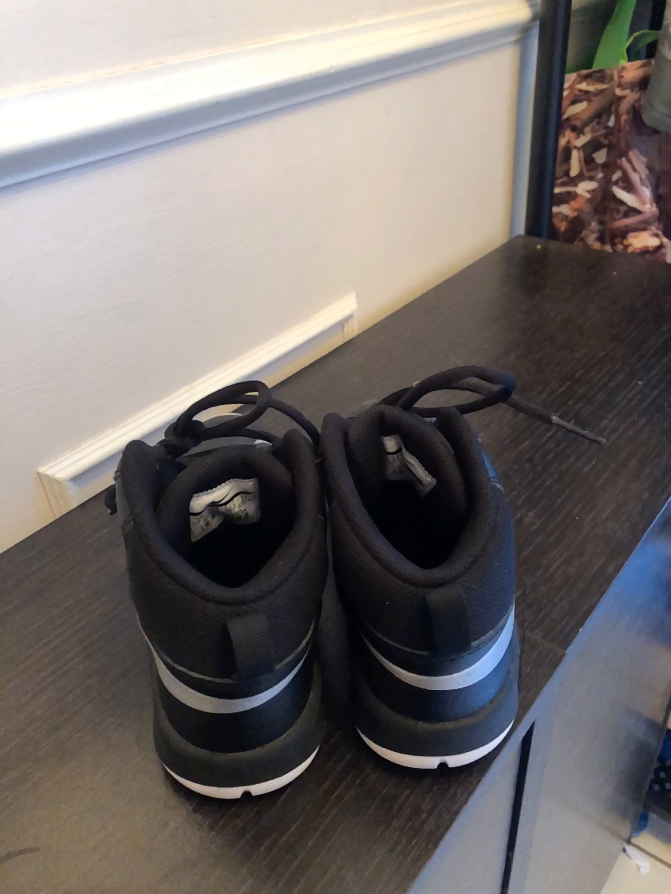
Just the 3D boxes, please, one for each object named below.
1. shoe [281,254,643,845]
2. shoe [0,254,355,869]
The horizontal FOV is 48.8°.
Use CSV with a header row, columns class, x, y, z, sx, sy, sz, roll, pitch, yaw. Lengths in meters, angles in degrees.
class,x,y,z,sx,sy,sz,roll,pitch,yaw
shoe,0.032,0.020,0.345,0.100,0.129,0.252,-5,34,-1
shoe,-0.067,0.022,0.347,0.100,0.129,0.262,-8,34,-6
